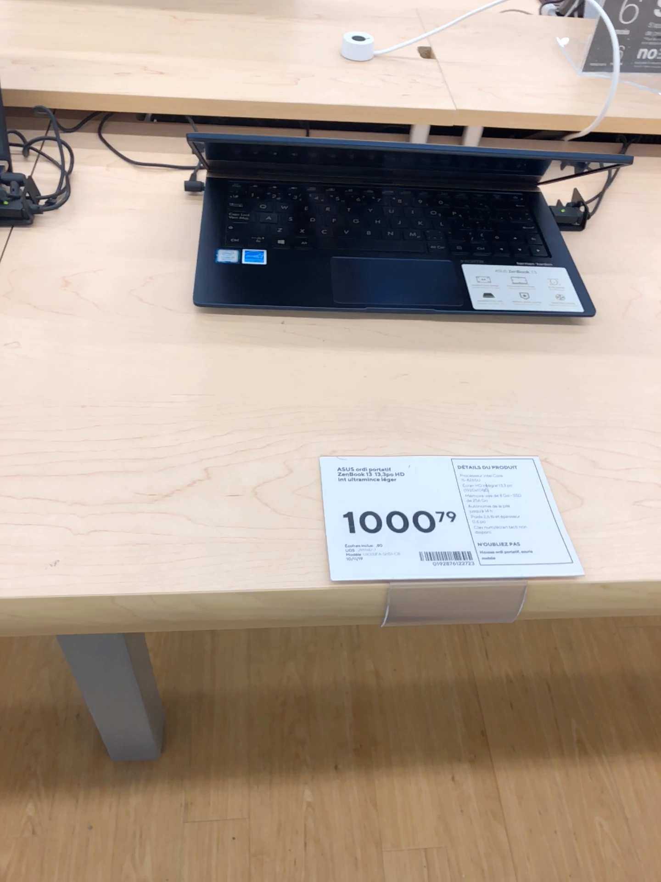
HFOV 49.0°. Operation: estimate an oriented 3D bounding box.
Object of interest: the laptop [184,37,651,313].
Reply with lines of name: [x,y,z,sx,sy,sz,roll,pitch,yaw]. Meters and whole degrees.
laptop: [0.050,-0.207,0.562,0.299,0.107,0.197,1,49,-6]
